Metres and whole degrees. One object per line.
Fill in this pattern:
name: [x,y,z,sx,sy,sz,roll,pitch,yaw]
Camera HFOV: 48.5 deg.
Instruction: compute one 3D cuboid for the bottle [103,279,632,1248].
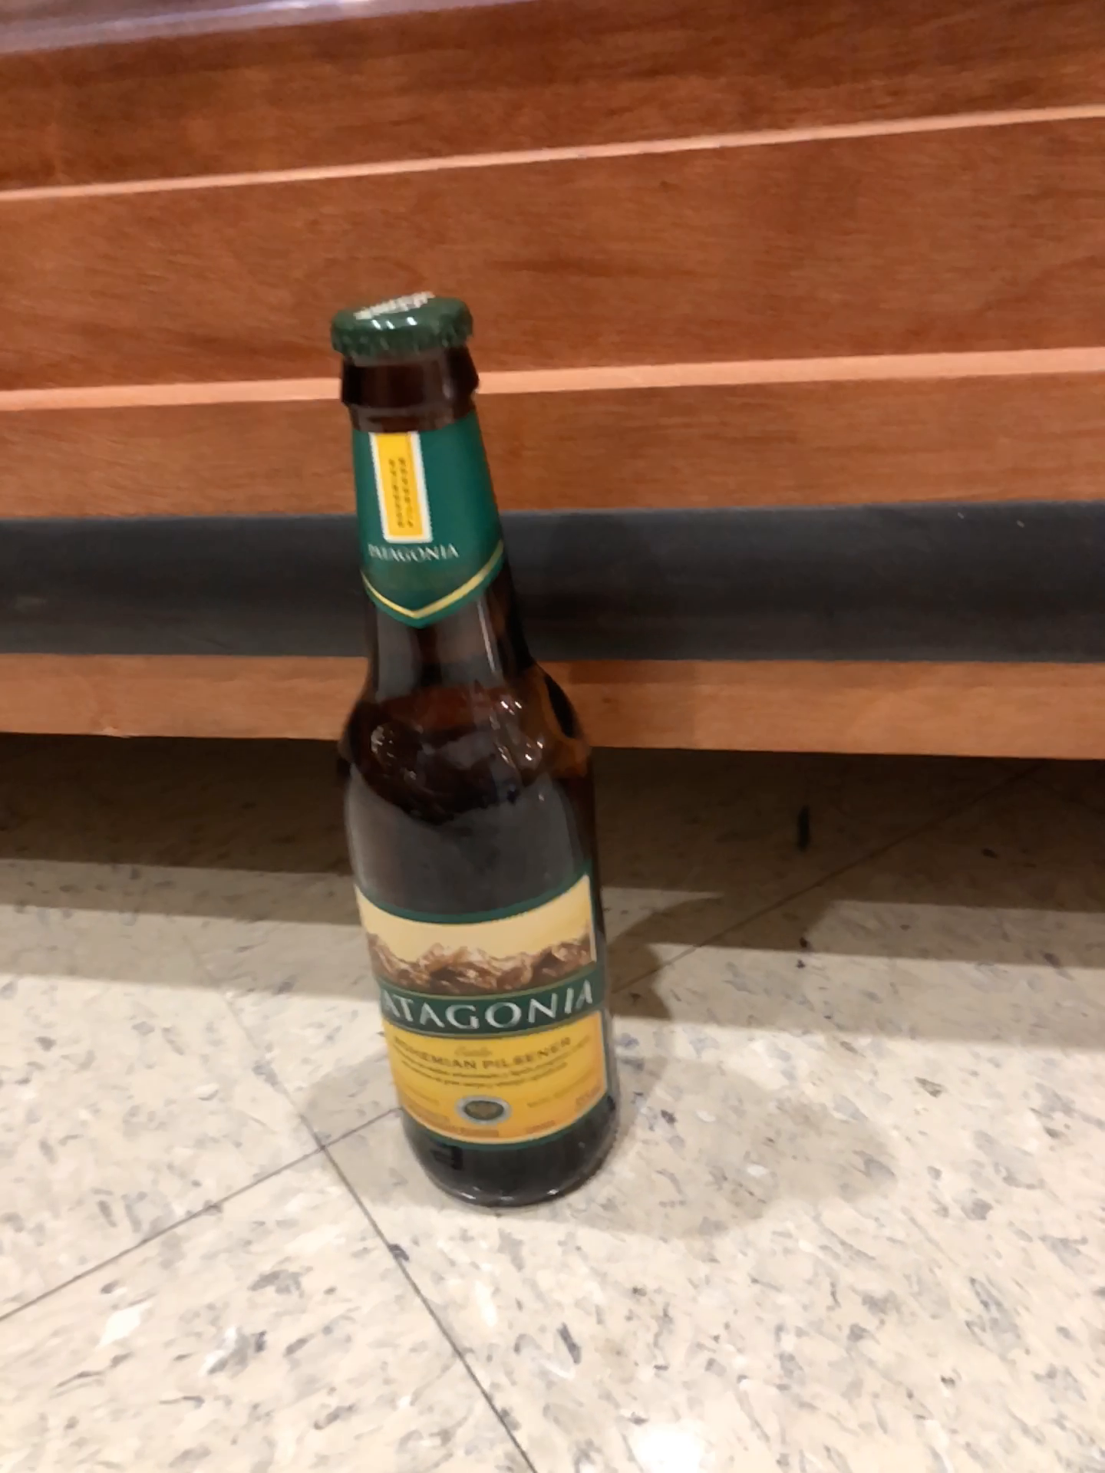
bottle: [-0.027,0.017,0.283,0.070,0.218,0.060,2,31,13]
